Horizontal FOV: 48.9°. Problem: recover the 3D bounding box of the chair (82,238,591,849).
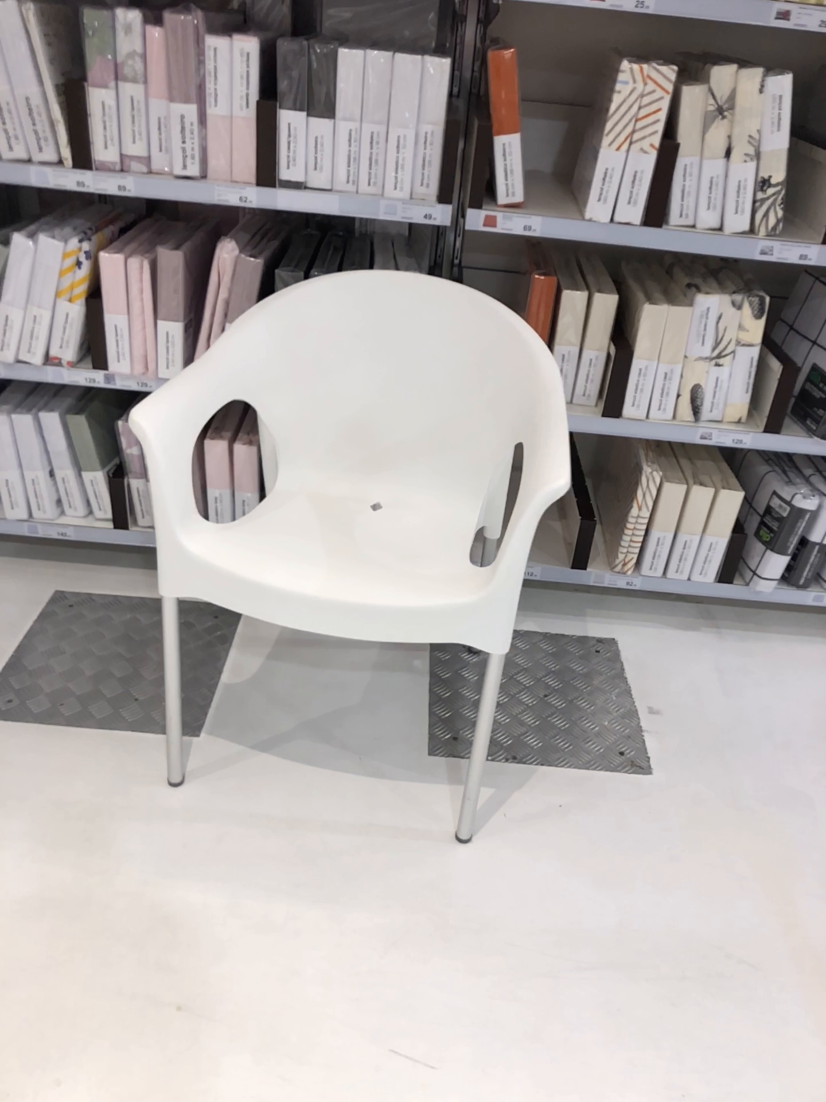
[{"bbox_3d":[-0.078,-0.041,1.445,0.590,0.704,0.554,9,31,6],"label":"chair"}]
